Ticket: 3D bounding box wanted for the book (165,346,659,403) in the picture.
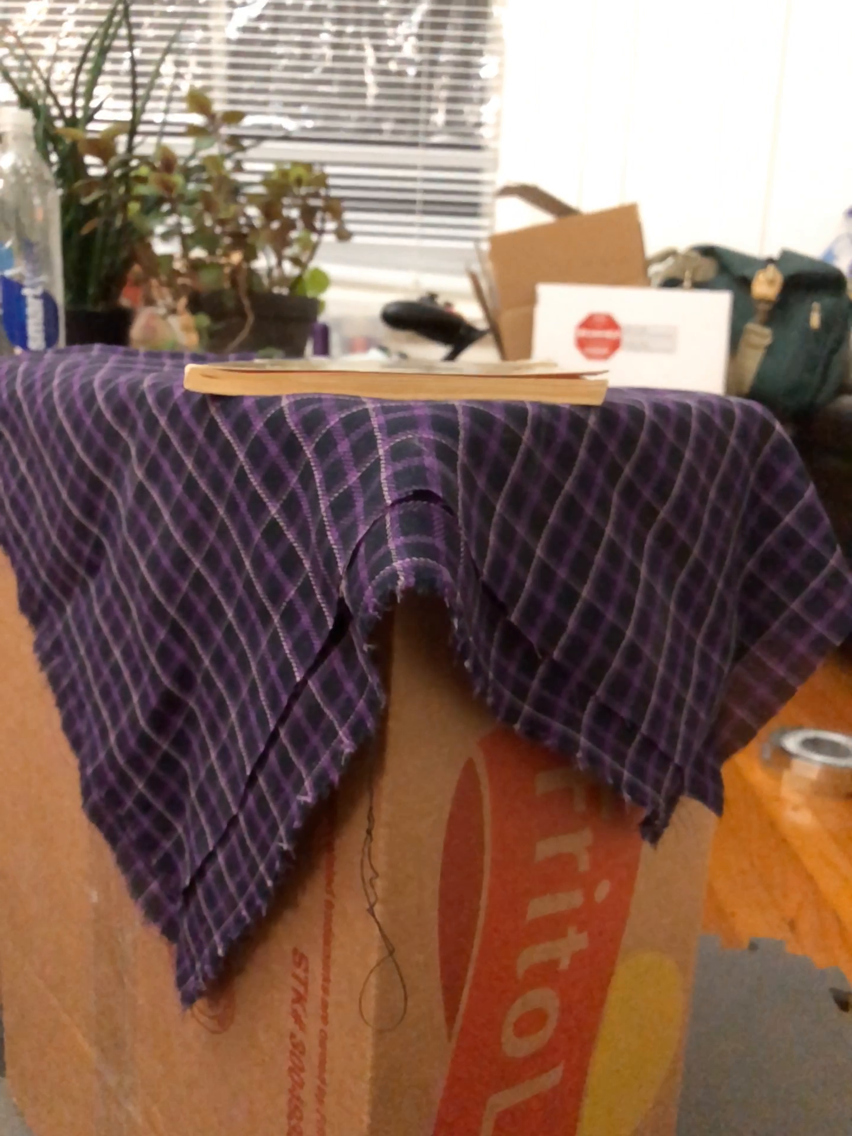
[{"bbox_3d":[0.000,-0.078,0.378,0.140,0.010,0.221,3,12,2],"label":"book"}]
